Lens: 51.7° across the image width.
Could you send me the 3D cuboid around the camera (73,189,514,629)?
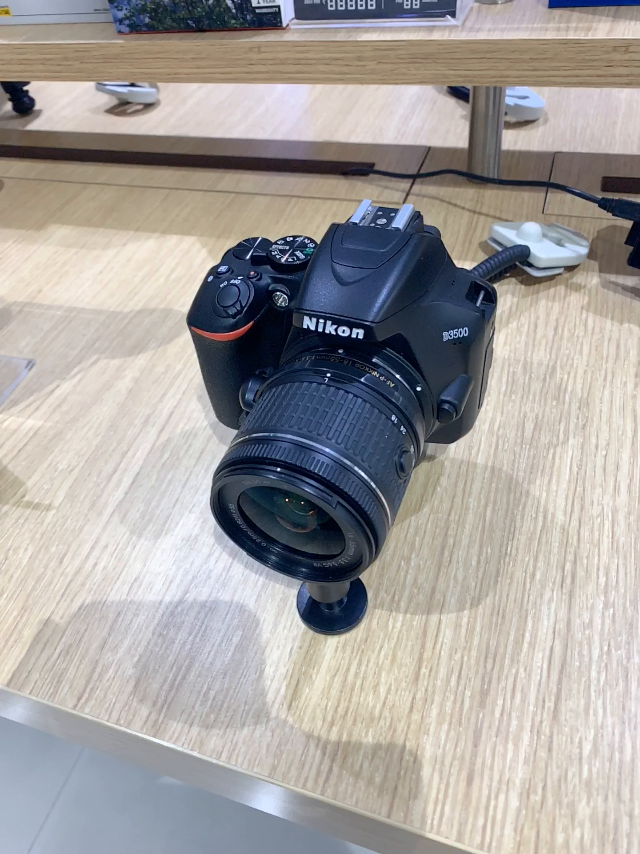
[{"bbox_3d":[0.002,-0.011,0.231,0.102,0.091,0.104,11,49,18],"label":"camera"}]
